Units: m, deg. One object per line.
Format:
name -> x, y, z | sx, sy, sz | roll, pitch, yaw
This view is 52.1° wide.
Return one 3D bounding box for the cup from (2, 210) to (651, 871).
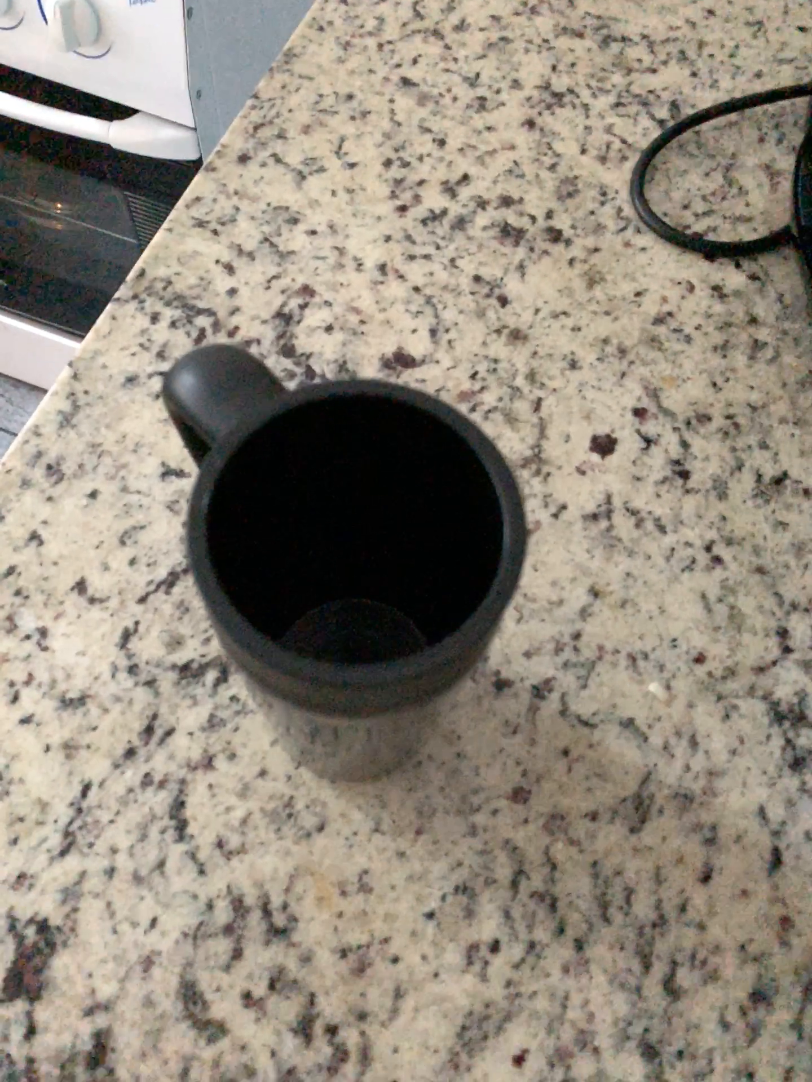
cup -> -0.023, 0.013, 0.237 | 0.080, 0.140, 0.120 | -35, 72, -18
